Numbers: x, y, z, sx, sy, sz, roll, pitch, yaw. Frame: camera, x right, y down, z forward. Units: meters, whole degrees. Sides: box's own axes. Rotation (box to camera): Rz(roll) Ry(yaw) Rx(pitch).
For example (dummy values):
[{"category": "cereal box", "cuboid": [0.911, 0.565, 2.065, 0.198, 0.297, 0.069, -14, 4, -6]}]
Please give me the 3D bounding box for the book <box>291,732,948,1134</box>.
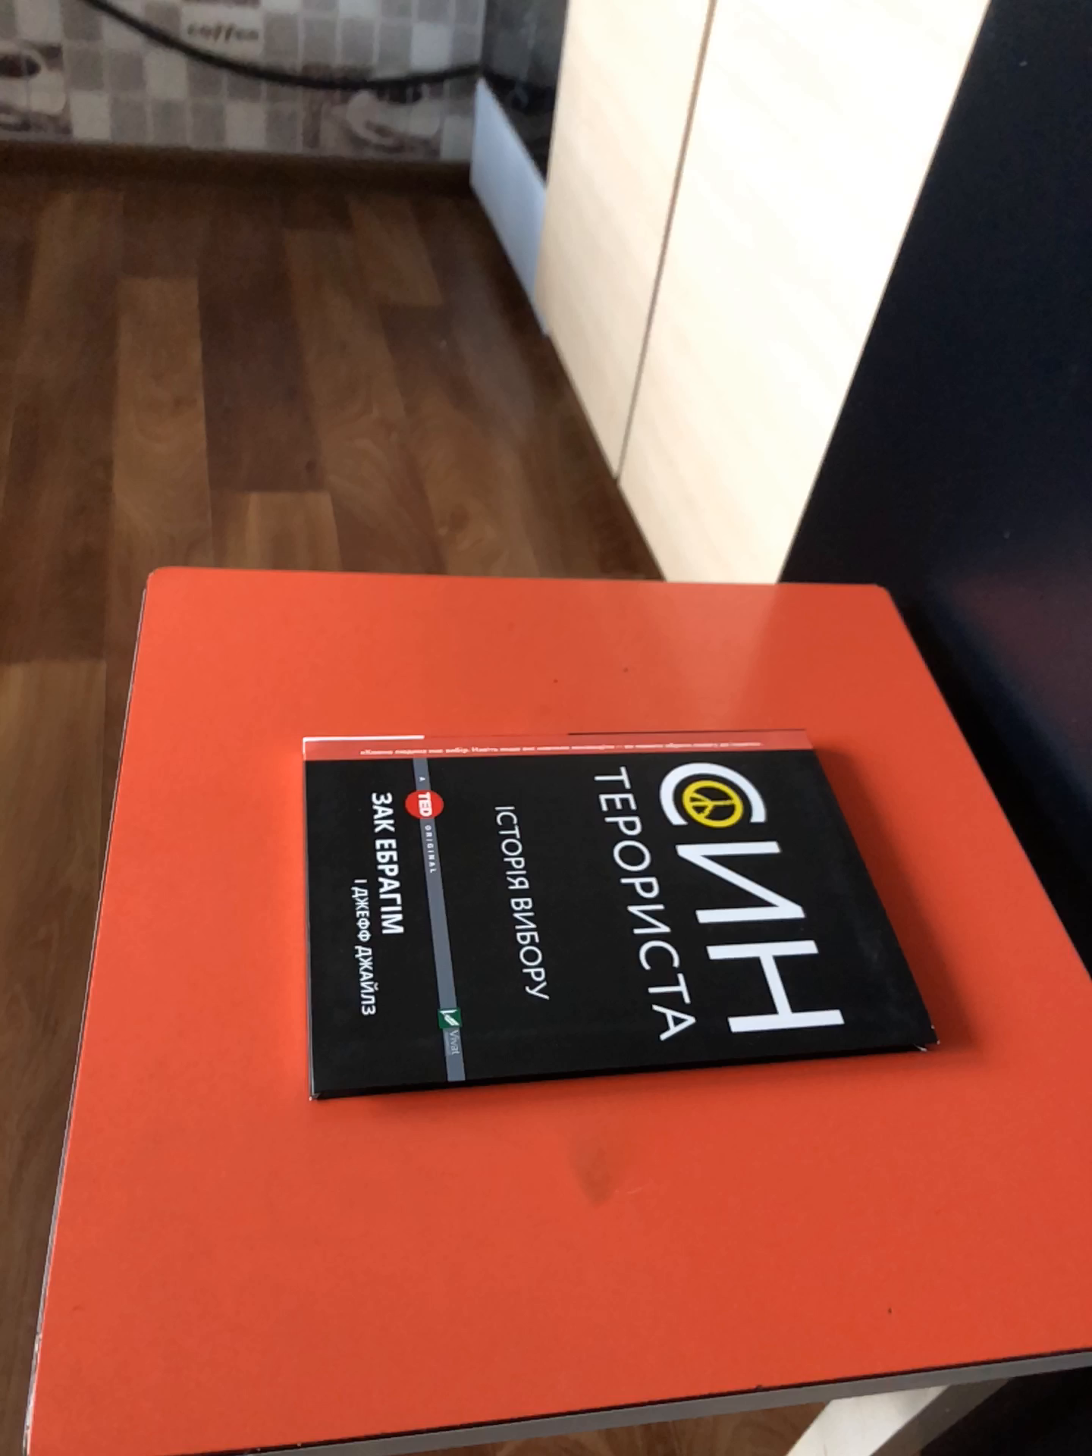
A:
[{"category": "book", "cuboid": [0.016, 0.060, 0.421, 0.205, 0.013, 0.151, 0, 45, -12]}]
